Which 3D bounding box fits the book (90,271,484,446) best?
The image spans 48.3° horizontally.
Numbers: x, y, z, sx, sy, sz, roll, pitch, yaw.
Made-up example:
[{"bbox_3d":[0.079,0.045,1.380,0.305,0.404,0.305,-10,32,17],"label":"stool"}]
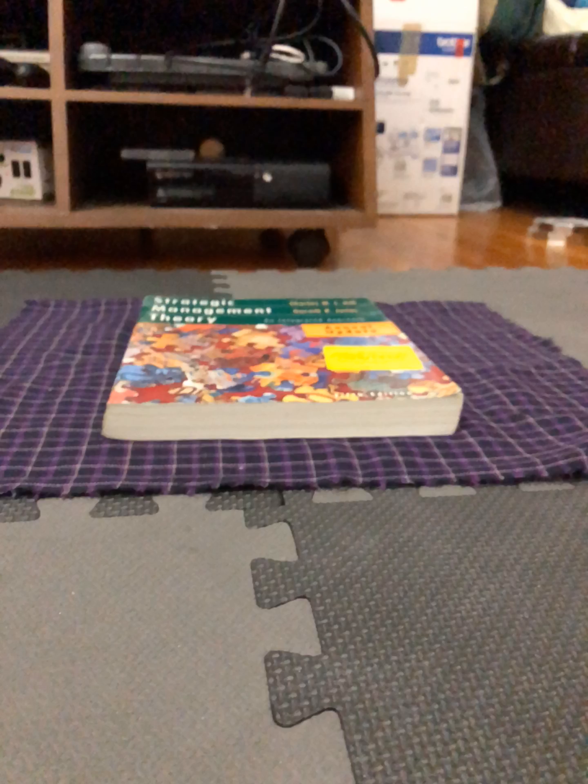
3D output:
[{"bbox_3d":[-0.016,-0.044,0.518,0.230,0.040,0.281,-1,23,-6],"label":"book"}]
